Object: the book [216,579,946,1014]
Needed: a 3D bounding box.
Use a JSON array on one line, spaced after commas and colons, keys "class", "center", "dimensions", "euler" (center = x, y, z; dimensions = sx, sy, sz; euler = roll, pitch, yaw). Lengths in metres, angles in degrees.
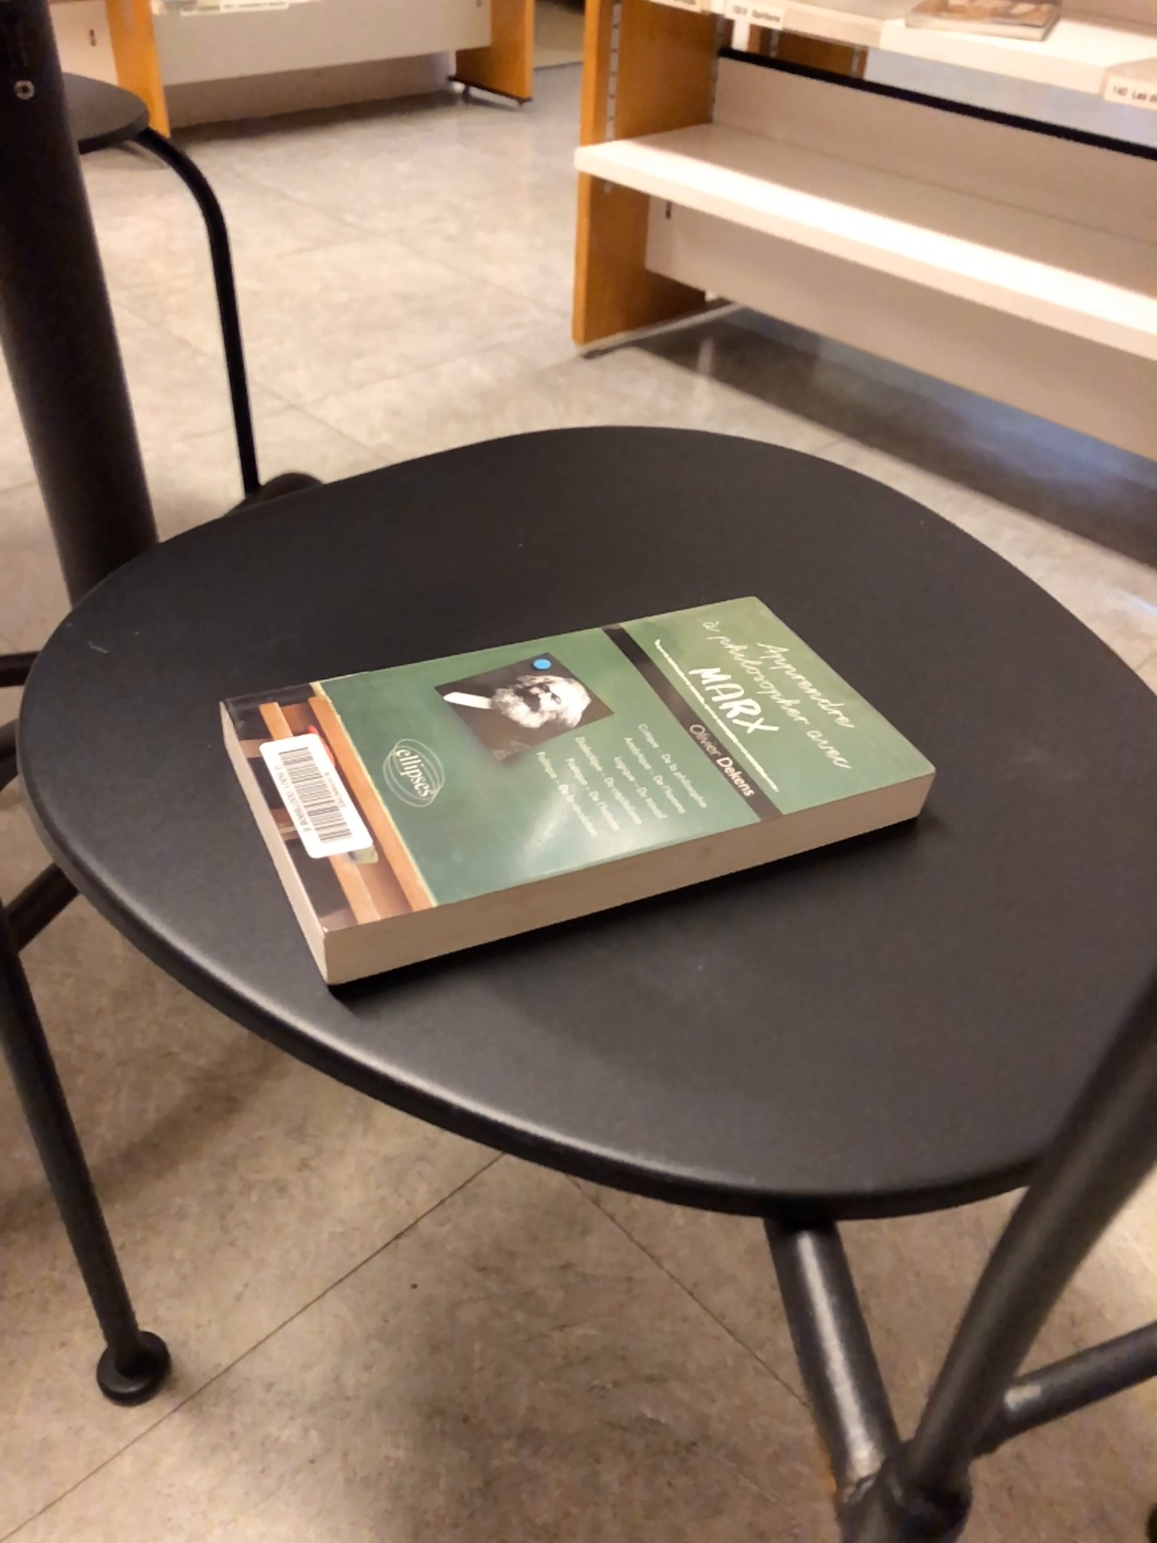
[{"class": "book", "center": [-0.002, -0.003, 0.366], "dimensions": [0.177, 0.024, 0.110], "euler": [-14, 41, -20]}]
